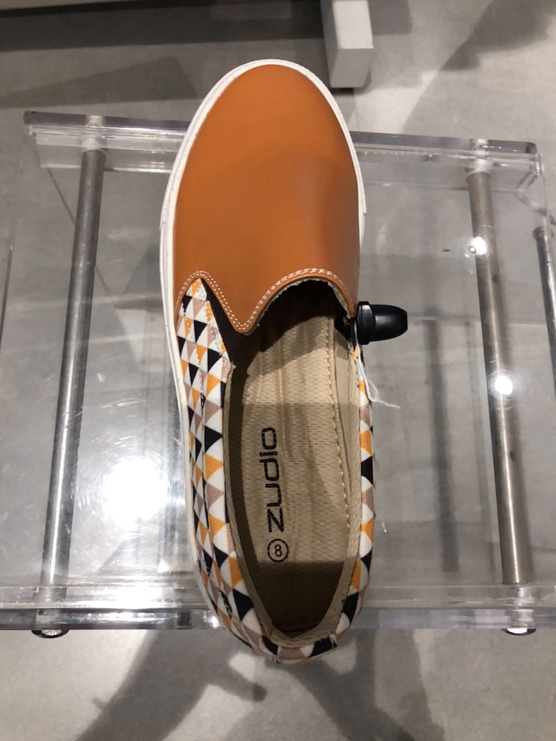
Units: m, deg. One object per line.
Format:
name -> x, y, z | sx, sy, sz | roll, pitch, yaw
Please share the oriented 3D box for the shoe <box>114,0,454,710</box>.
shoe -> -0.004, -0.021, 0.285 | 0.110, 0.100, 0.290 | 0, 75, -5
